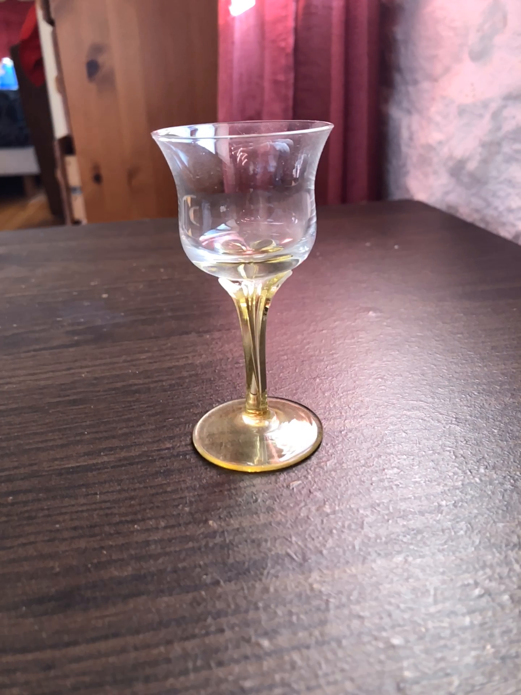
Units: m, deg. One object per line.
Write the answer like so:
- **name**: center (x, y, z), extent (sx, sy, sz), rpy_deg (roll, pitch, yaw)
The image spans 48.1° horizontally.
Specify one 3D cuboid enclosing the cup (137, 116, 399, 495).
- **cup**: center (-0.001, -0.015, 0.168), extent (0.058, 0.093, 0.051), rpy_deg (-5, 23, -10)
